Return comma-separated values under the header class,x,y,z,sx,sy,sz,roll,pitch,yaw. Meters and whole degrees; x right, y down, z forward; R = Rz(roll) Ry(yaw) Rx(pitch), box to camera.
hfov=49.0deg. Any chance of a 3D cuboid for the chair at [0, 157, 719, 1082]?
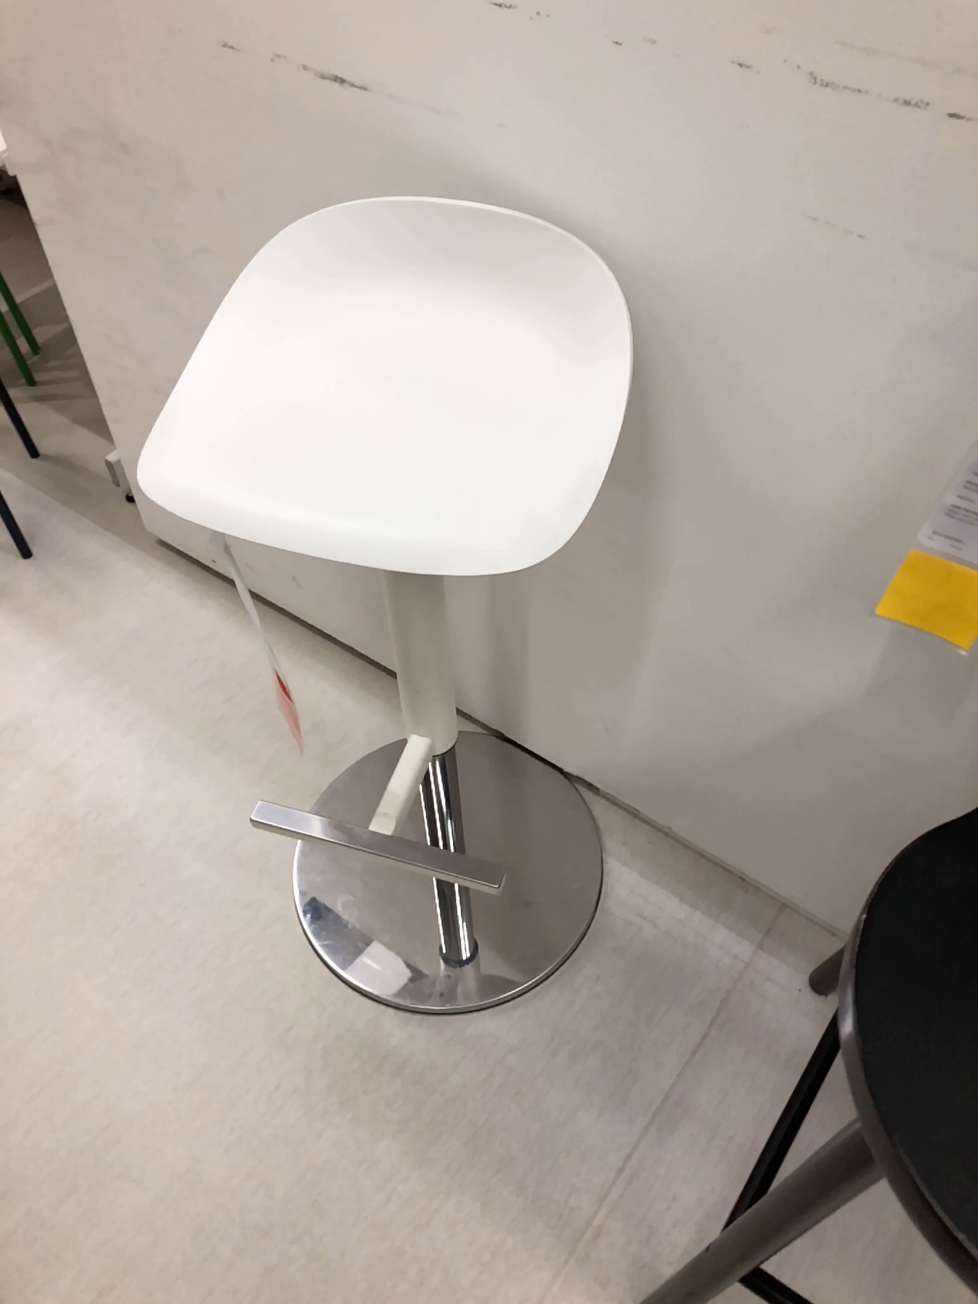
class,x,y,z,sx,sy,sz,roll,pitch,yaw
chair,-0.076,-0.001,1.113,0.440,0.745,0.513,13,51,13
